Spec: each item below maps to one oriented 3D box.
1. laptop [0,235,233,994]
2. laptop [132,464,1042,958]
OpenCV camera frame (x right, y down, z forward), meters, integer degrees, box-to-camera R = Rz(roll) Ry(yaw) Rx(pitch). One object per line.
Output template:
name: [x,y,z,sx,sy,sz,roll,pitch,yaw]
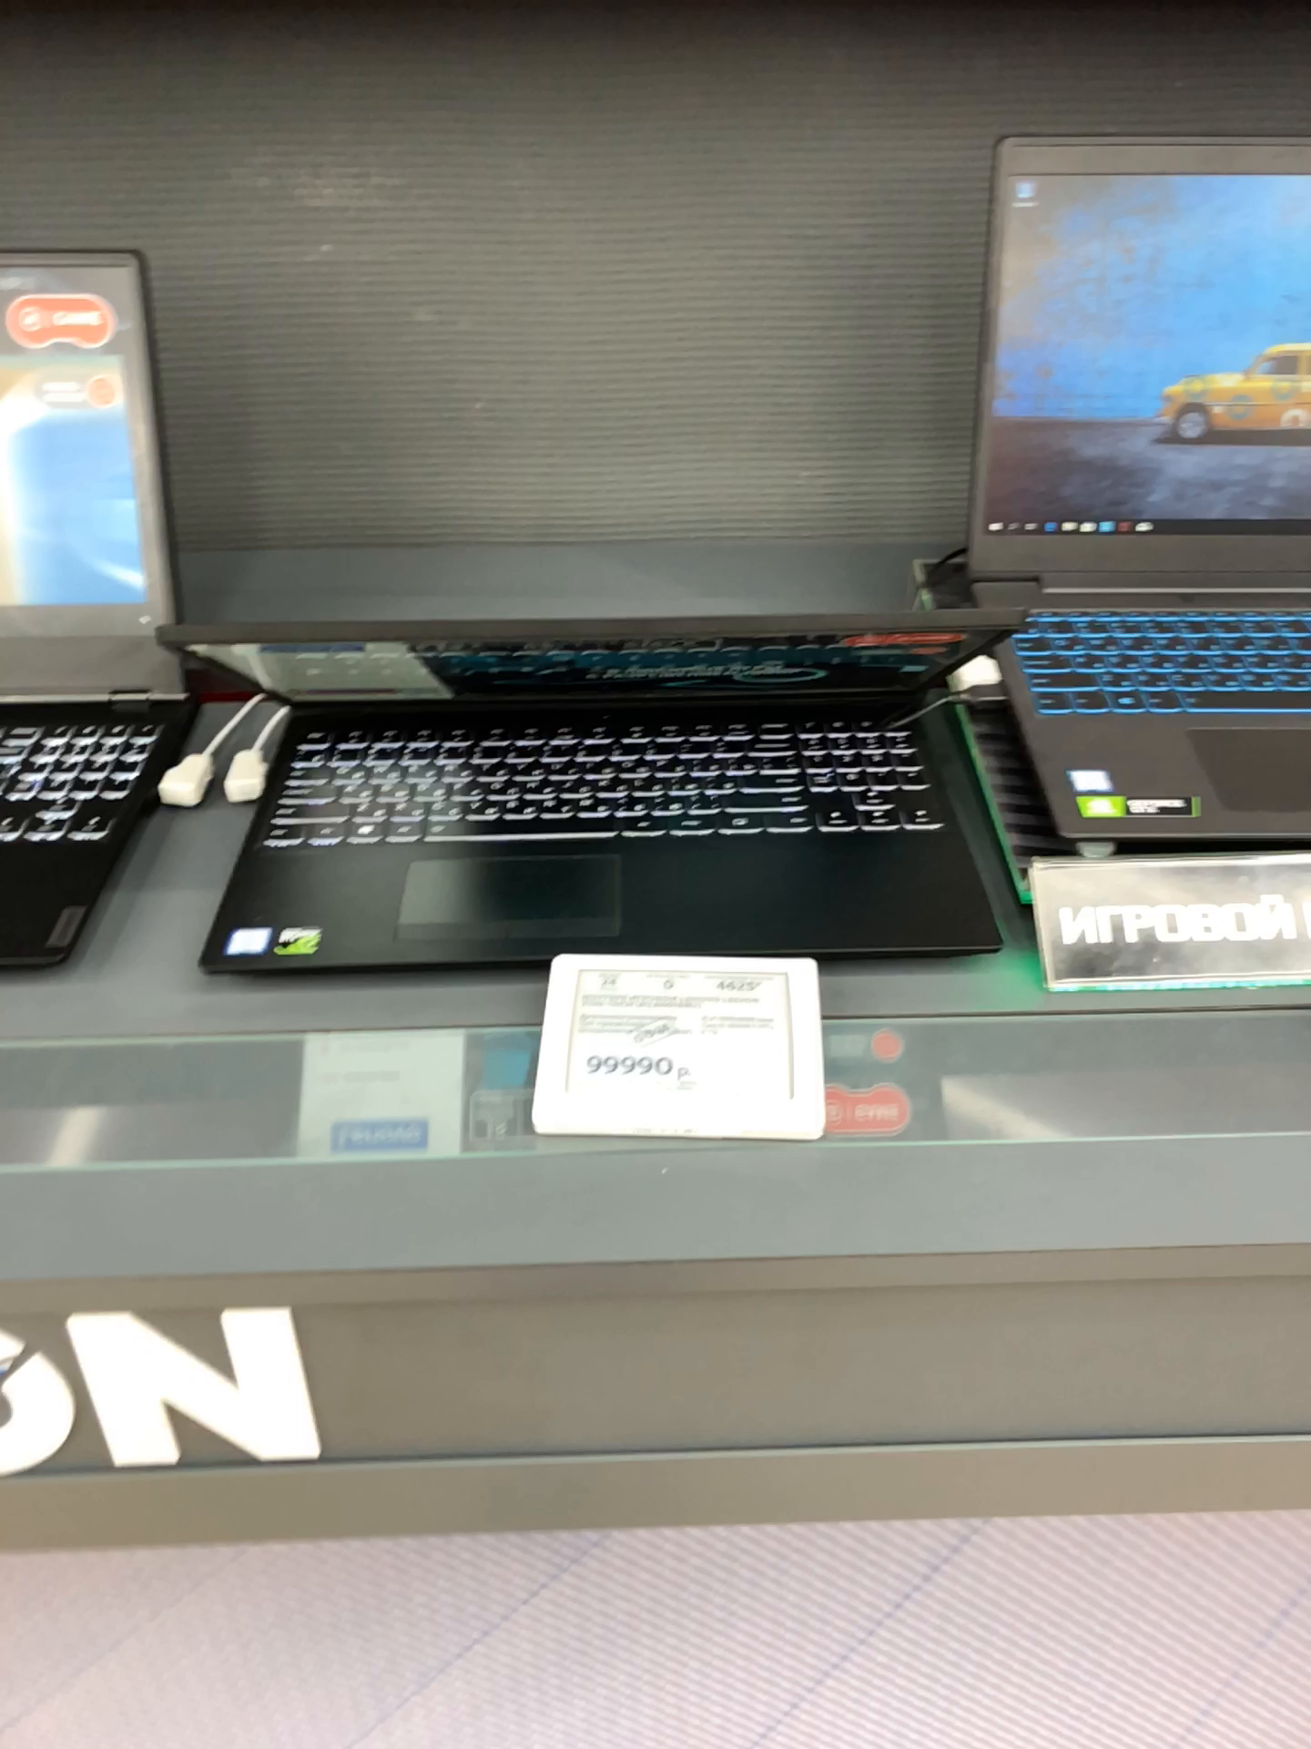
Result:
laptop: [-0.453,-0.144,0.694,0.363,0.231,0.309,-1,35,0]
laptop: [-0.028,-0.089,0.687,0.353,0.136,0.229,-1,34,-1]
